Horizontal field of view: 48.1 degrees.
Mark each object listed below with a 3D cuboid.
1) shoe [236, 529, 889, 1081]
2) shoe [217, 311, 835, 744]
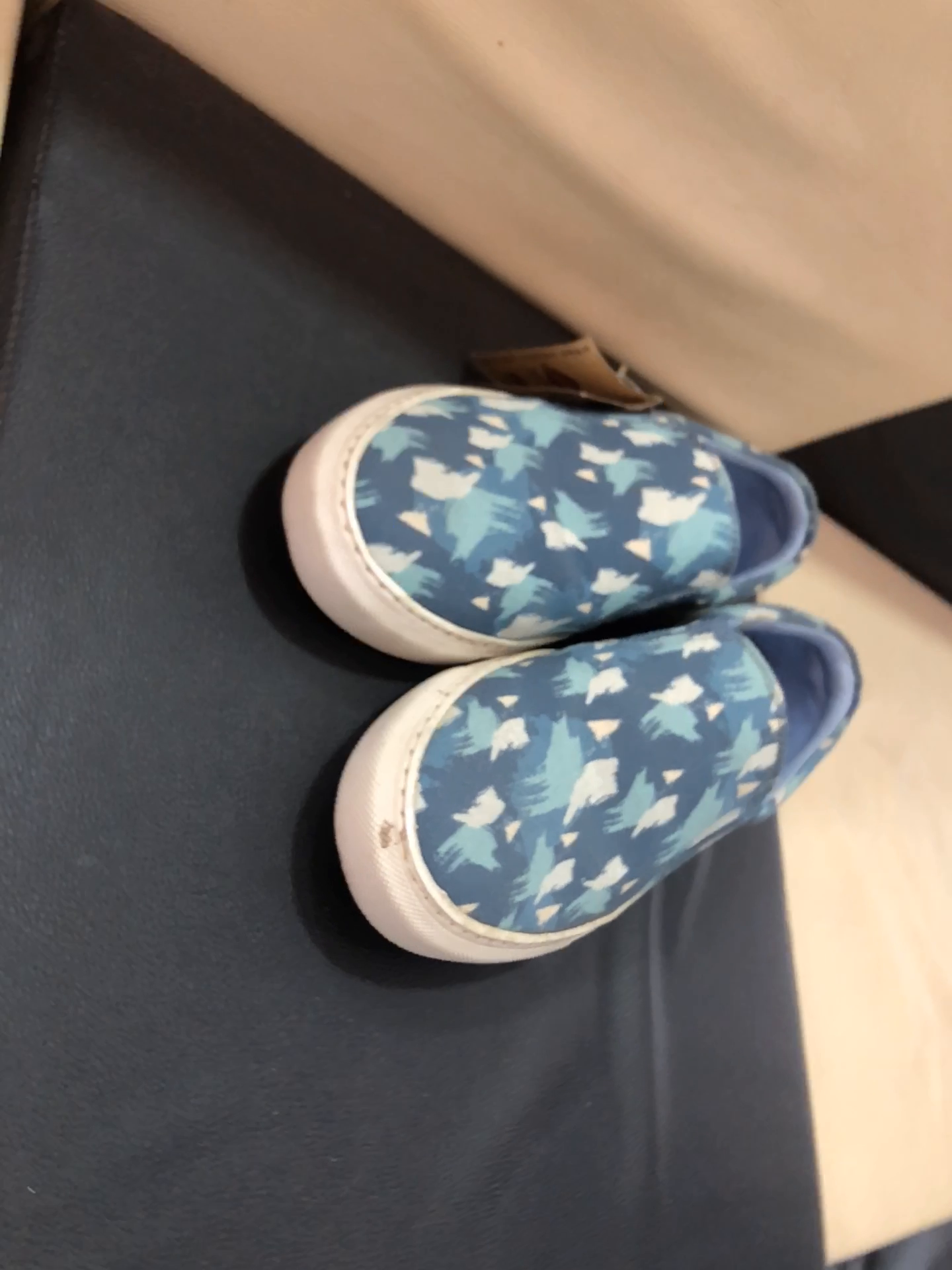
[{"bbox_3d":[0.059,0.044,0.421,0.282,0.089,0.120,-18,91,-51],"label":"shoe"},{"bbox_3d":[0.046,-0.053,0.410,0.282,0.060,0.110,-18,92,-51],"label":"shoe"}]
